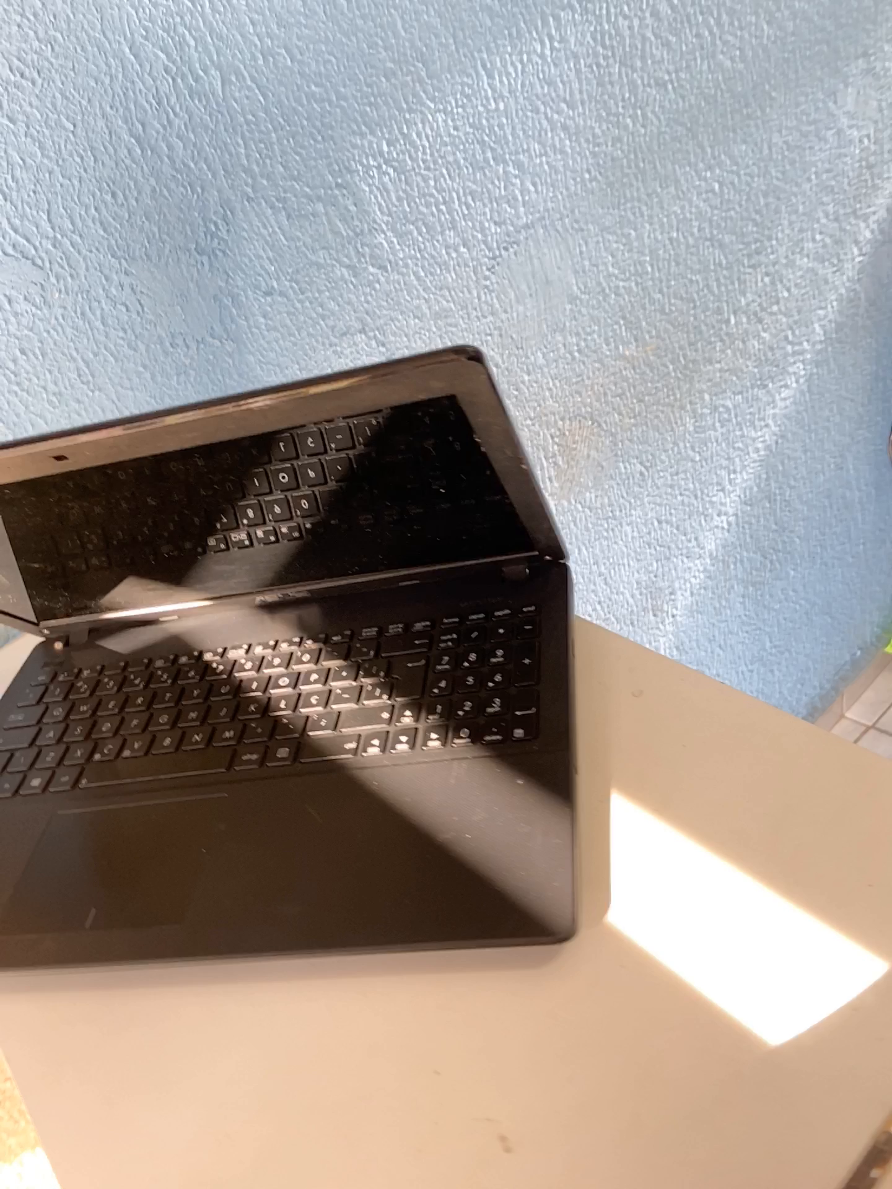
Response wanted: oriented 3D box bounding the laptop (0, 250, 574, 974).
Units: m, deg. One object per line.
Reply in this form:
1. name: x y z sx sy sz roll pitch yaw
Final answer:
1. laptop: -0.141 0.012 0.451 0.373 0.190 0.240 -9 36 15
